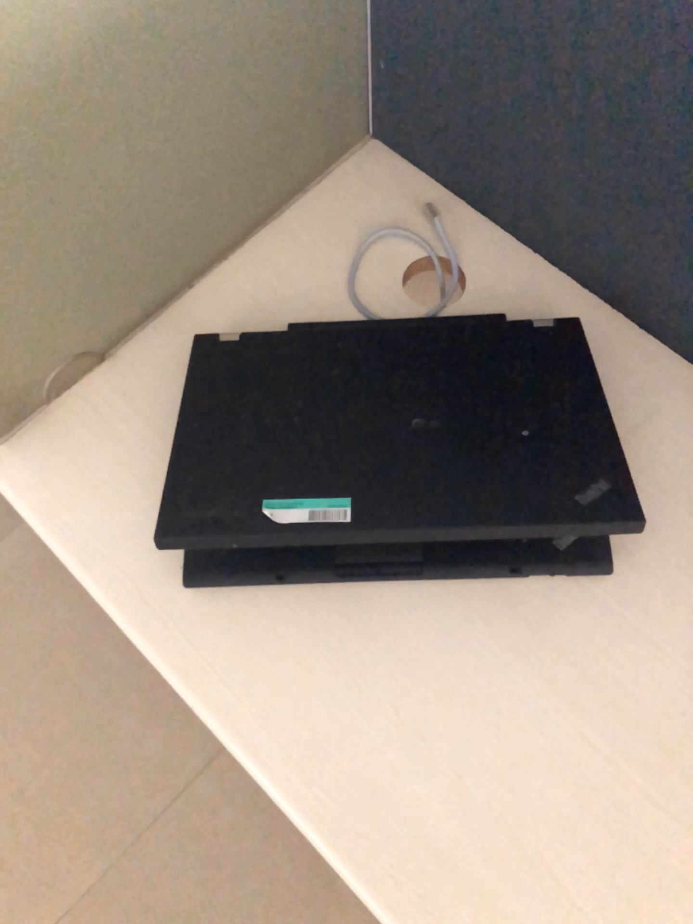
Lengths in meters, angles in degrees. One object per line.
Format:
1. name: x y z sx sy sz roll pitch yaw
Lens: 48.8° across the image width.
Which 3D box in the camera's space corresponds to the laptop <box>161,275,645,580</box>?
1. laptop: 0.039 -0.030 0.654 0.363 0.077 0.235 -2 68 2
